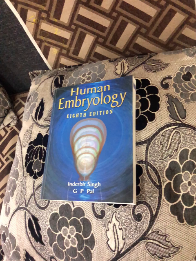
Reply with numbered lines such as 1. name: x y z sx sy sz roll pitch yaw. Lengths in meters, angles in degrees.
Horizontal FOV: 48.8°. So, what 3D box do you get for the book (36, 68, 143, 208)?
1. book: -0.013 0.011 0.444 0.200 0.030 0.270 -4 69 19
